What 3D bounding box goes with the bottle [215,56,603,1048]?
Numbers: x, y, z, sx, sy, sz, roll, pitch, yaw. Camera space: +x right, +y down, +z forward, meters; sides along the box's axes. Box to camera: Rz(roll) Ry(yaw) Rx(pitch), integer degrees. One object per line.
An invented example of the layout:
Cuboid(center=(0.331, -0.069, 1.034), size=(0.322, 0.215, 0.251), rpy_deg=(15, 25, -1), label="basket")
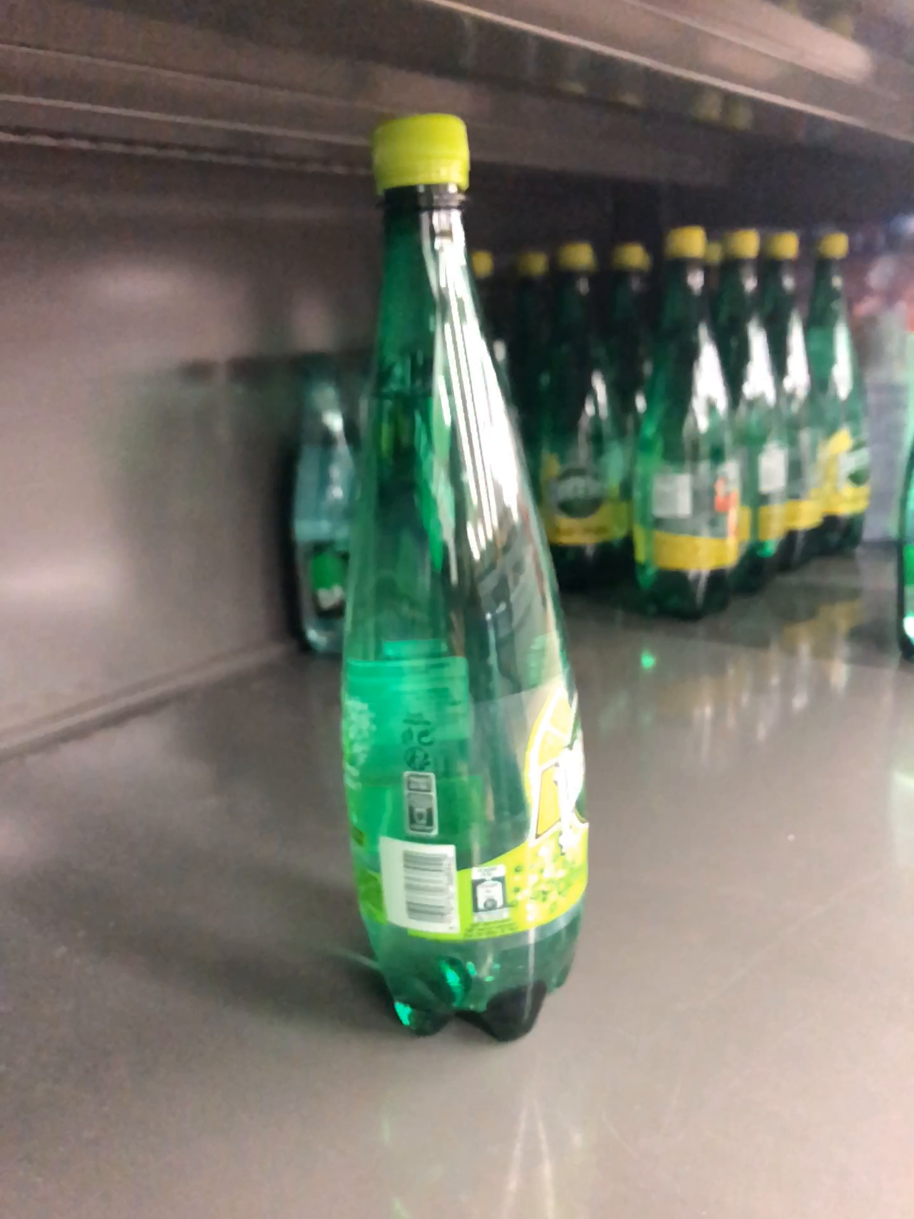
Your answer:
Cuboid(center=(-0.003, -0.012, 0.360), size=(0.090, 0.299, 0.100), rpy_deg=(-1, 15, 13), label="bottle")
